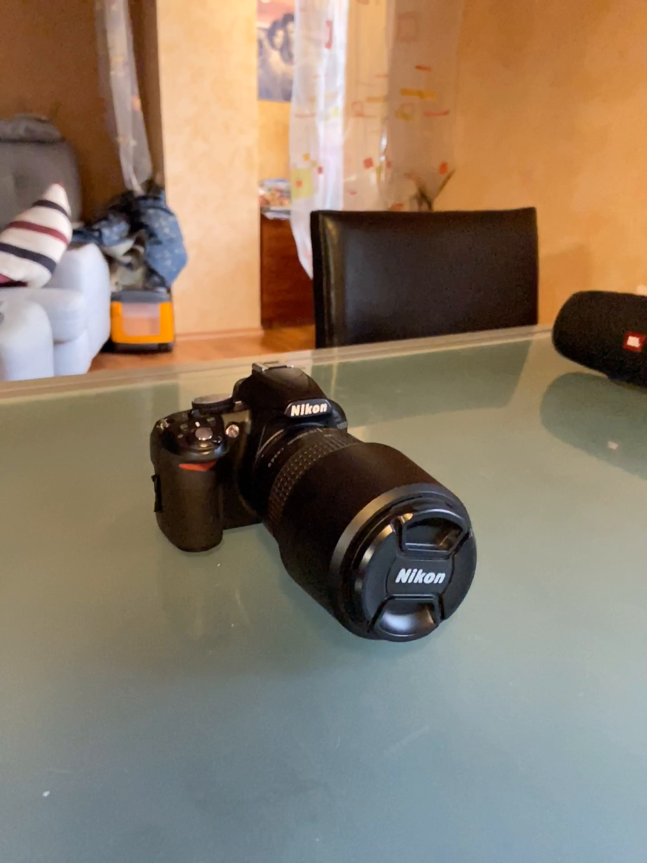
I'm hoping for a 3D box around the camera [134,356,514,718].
[{"bbox_3d":[-0.015,0.033,0.361,0.124,0.094,0.188,-9,23,-26],"label":"camera"}]
